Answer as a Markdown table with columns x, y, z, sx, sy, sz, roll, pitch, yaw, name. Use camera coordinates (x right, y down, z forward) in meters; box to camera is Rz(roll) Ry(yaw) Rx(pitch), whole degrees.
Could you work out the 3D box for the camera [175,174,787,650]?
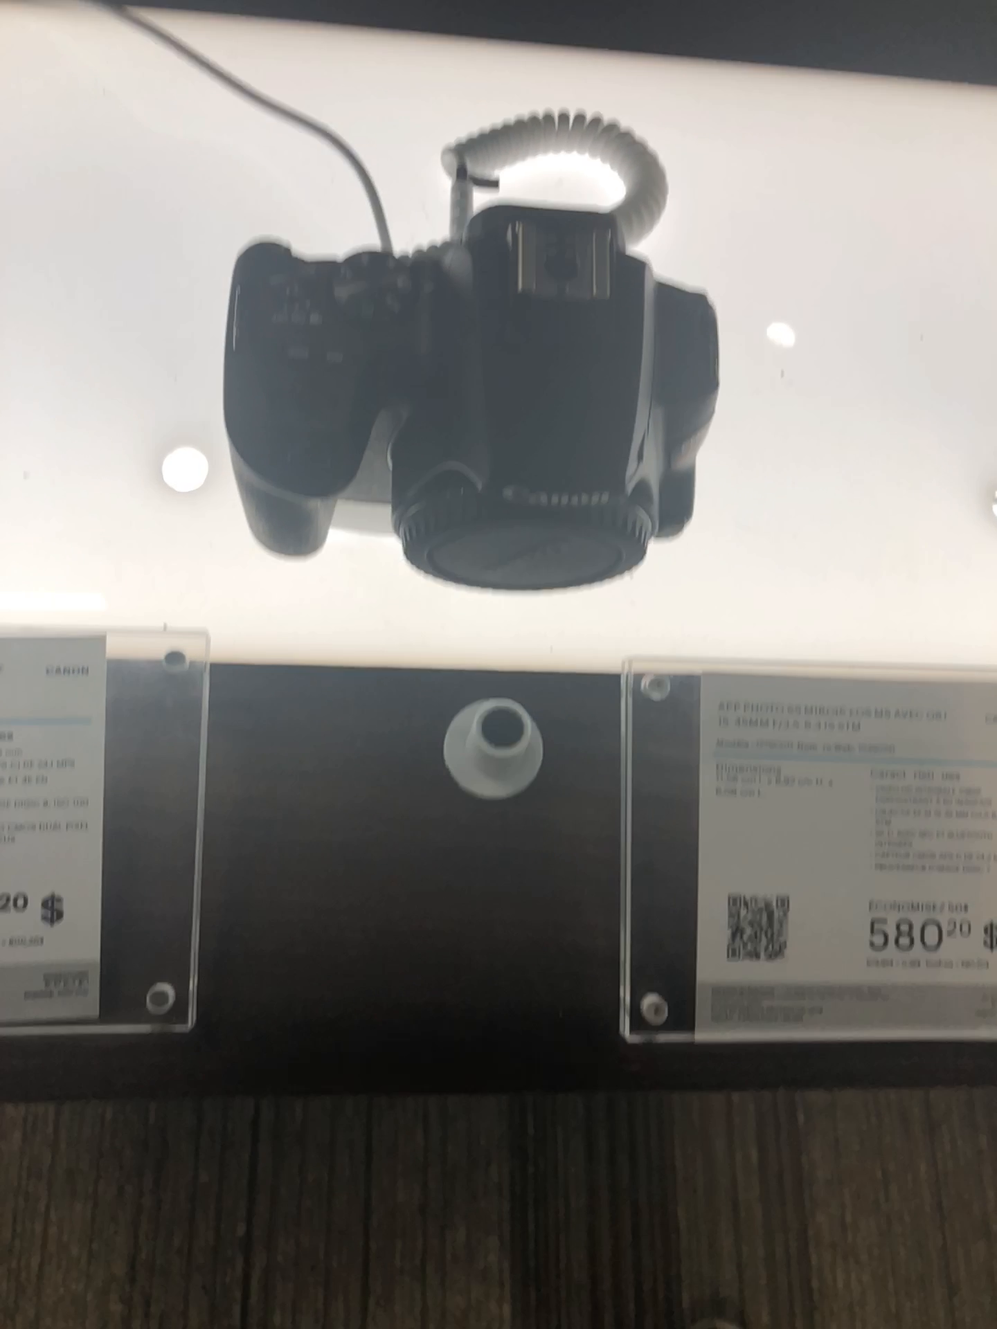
| x | y | z | sx | sy | sz | roll | pitch | yaw | name |
| --- | --- | --- | --- | --- | --- | --- | --- | --- | --- |
| -0.006 | -0.055 | 0.268 | 0.123 | 0.072 | 0.080 | 2 | 71 | -7 | camera |
